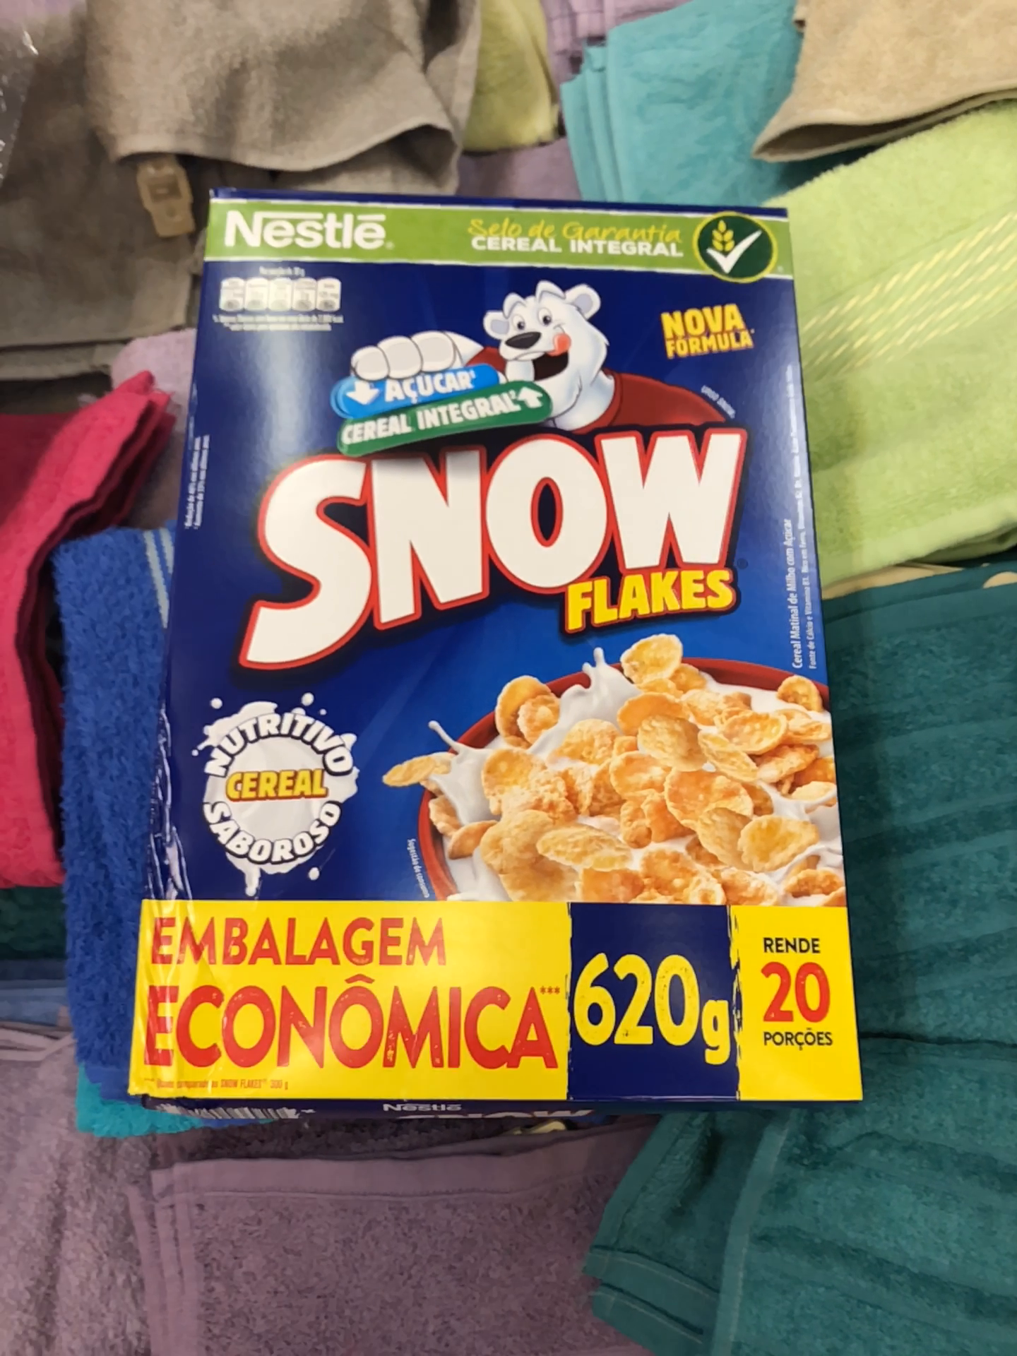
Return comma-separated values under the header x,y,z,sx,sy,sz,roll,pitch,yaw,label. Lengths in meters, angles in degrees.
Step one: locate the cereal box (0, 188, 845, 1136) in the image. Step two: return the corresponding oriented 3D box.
x,y,z,sx,sy,sz,roll,pitch,yaw,label
-0.020,-0.014,0.375,0.220,0.070,0.301,1,71,0,cereal box
